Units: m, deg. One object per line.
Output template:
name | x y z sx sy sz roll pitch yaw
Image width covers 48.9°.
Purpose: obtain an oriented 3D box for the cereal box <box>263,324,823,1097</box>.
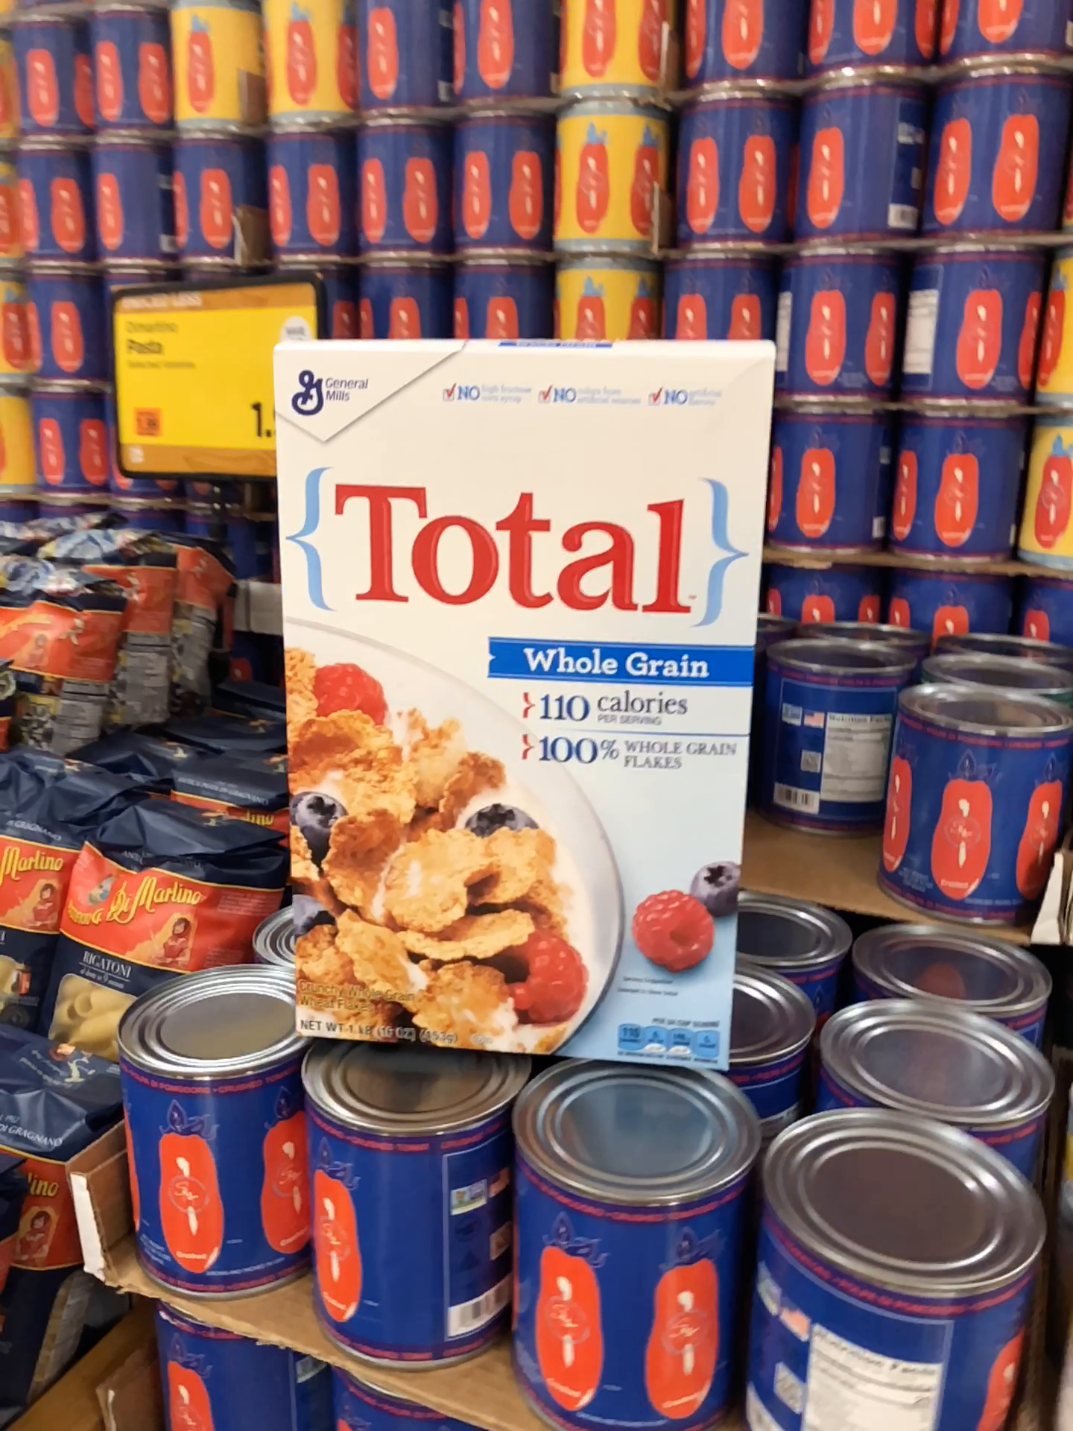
cereal box | 0.001 -0.003 0.508 0.210 0.309 0.070 3 13 7
